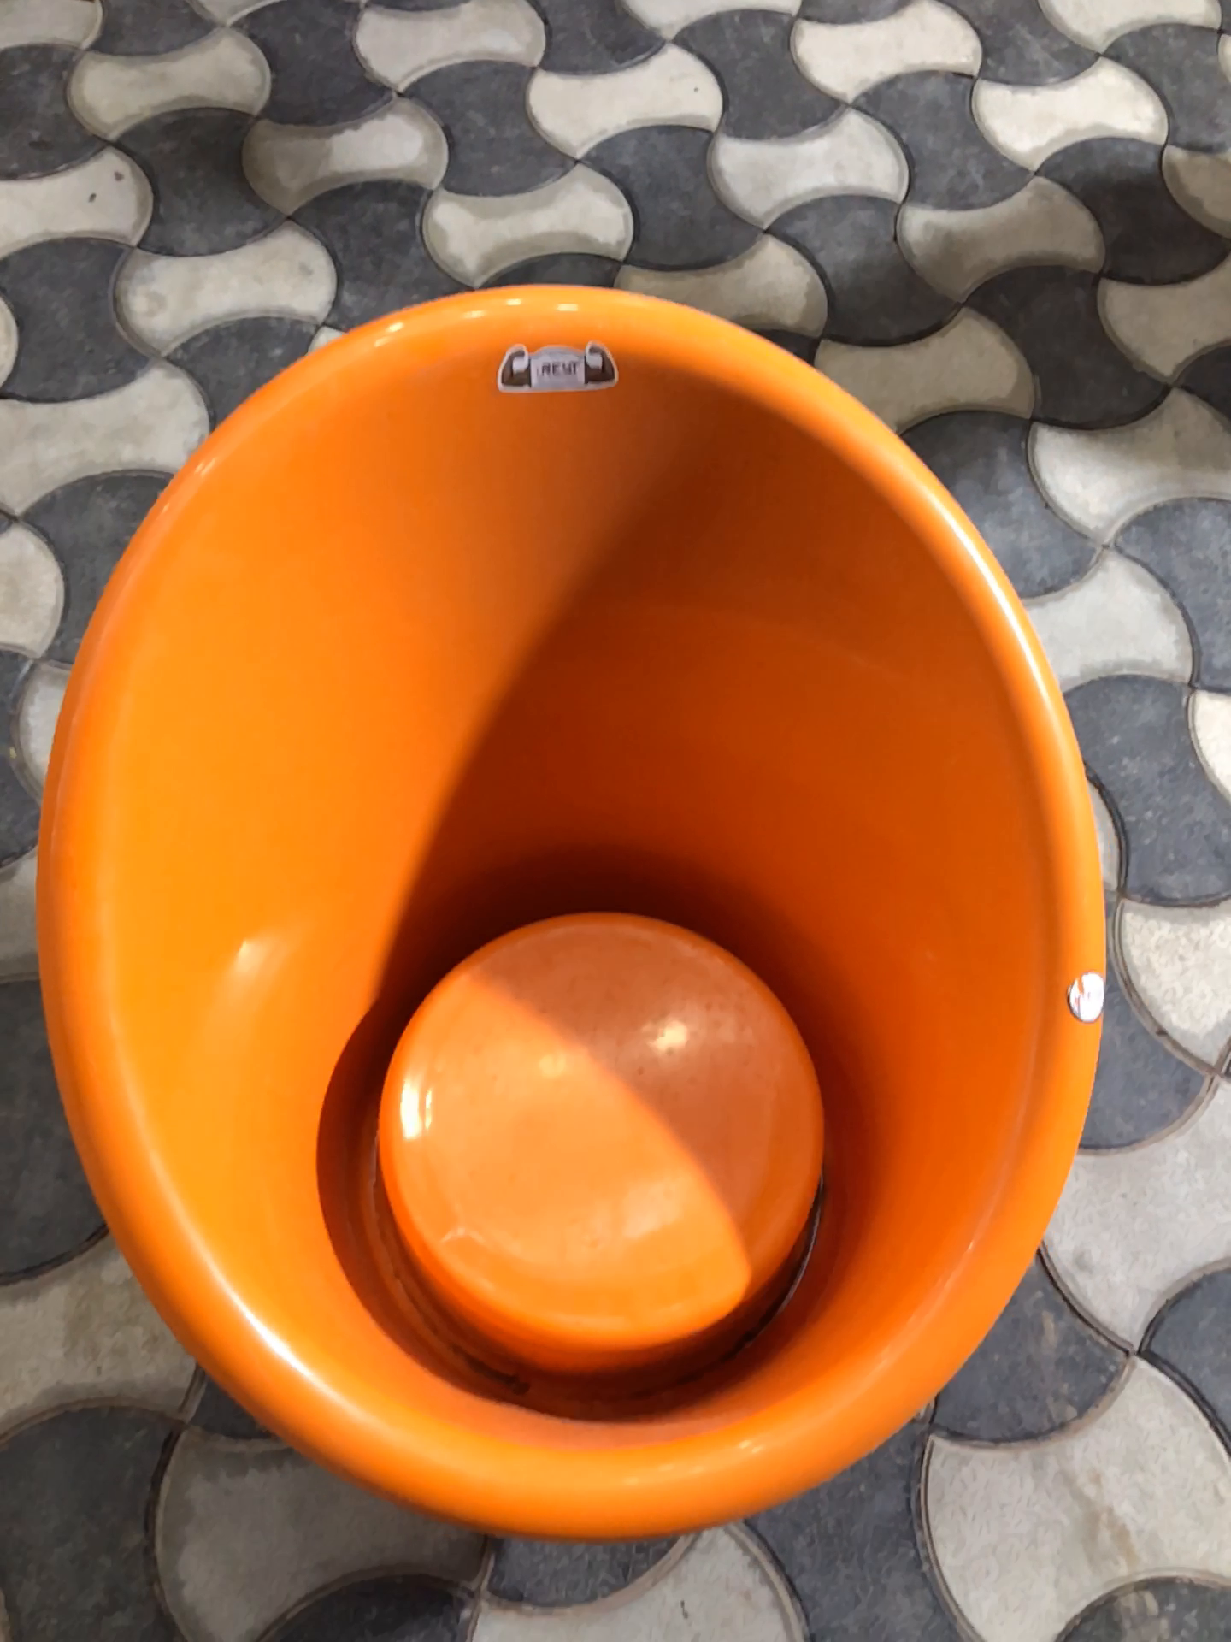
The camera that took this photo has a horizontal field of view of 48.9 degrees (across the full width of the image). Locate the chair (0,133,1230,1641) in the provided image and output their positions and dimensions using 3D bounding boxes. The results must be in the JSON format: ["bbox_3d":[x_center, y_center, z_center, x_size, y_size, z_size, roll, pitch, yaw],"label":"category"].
[{"bbox_3d":[-0.040,0.103,0.901,0.660,0.668,0.722,-8,60,-5],"label":"chair"}]
